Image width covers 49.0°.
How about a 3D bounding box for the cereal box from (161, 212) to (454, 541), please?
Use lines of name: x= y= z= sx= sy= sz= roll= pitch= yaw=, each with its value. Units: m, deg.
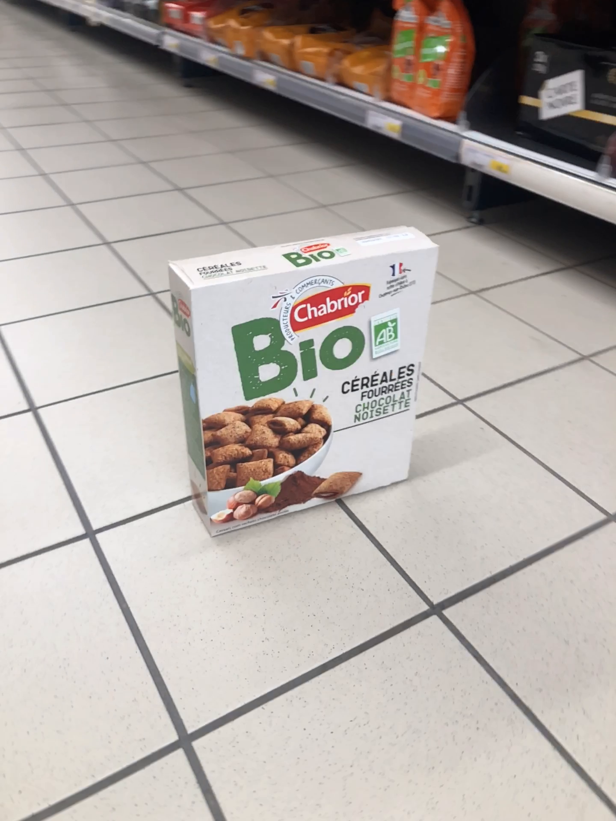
cereal box: x=0.001 y=-0.027 z=0.564 sx=0.211 sy=0.238 sz=0.060 roll=-13 pitch=36 yaw=-20
